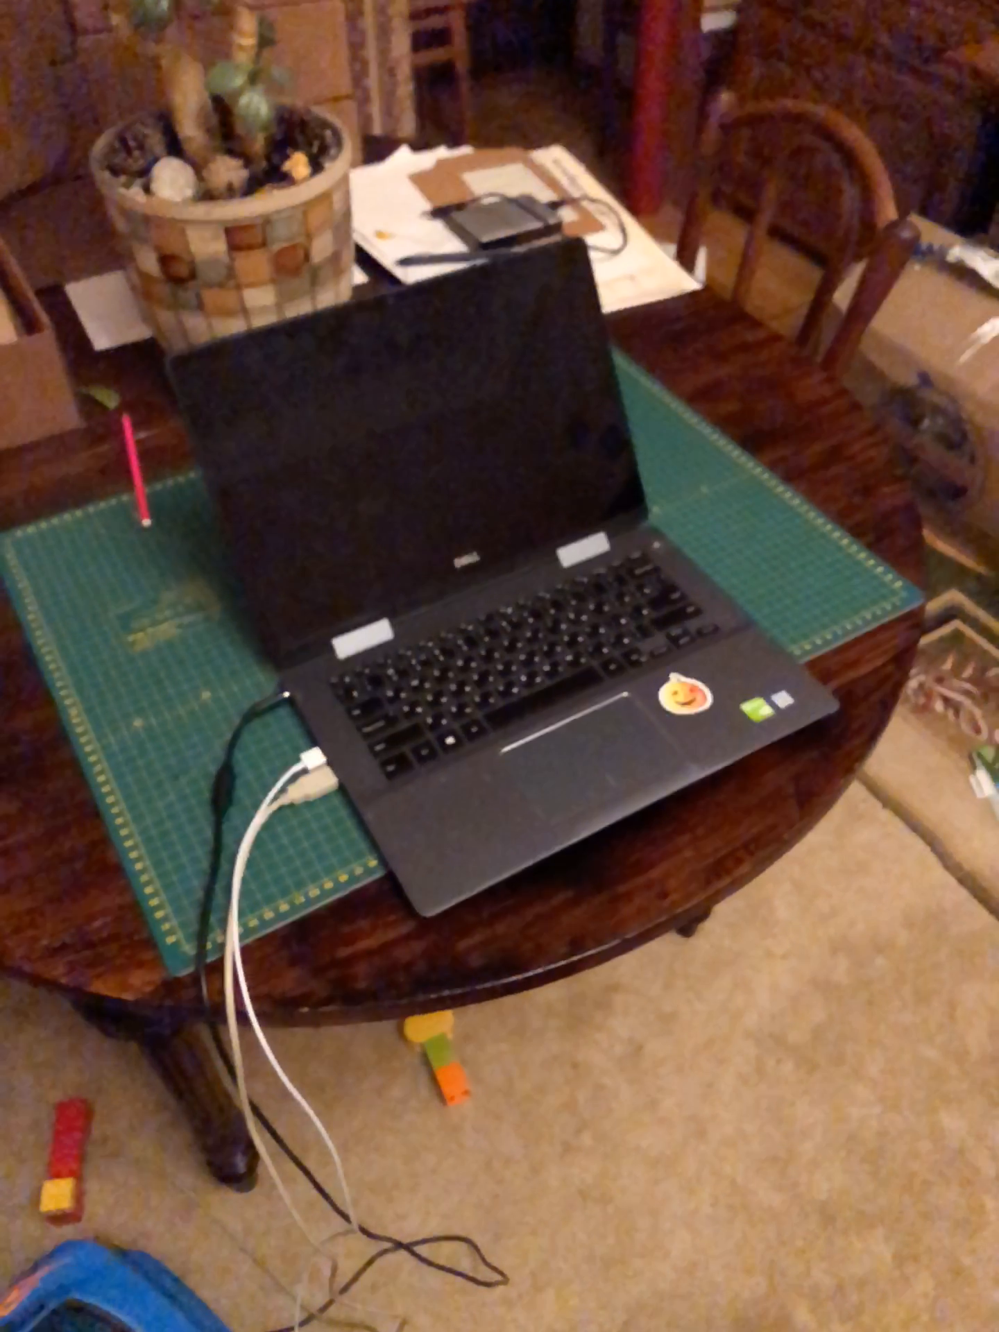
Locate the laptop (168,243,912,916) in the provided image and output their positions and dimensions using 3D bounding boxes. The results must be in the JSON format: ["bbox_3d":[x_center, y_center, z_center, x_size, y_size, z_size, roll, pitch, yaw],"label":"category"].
[{"bbox_3d":[0.010,-0.083,0.741,0.321,0.192,0.337,-23,51,-19],"label":"laptop"}]
